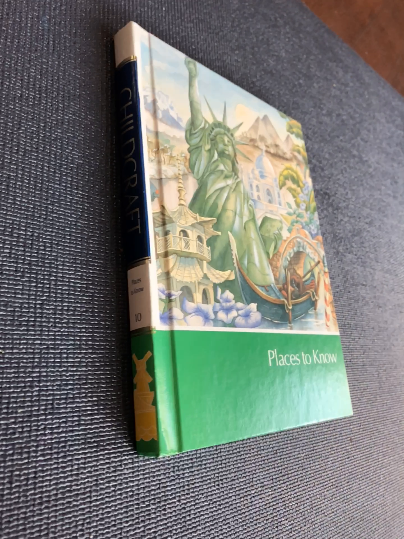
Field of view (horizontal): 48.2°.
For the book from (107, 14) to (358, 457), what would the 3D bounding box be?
[{"bbox_3d":[0.028,-0.019,0.316,0.191,0.030,0.250,10,68,-45],"label":"book"}]
